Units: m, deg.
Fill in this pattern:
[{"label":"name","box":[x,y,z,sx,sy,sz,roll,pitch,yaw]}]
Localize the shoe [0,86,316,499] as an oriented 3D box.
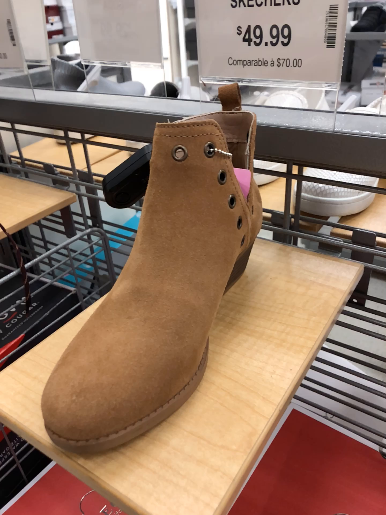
[{"label":"shoe","box":[-0.009,-0.019,0.291,0.092,0.129,0.282,14,36,27]}]
